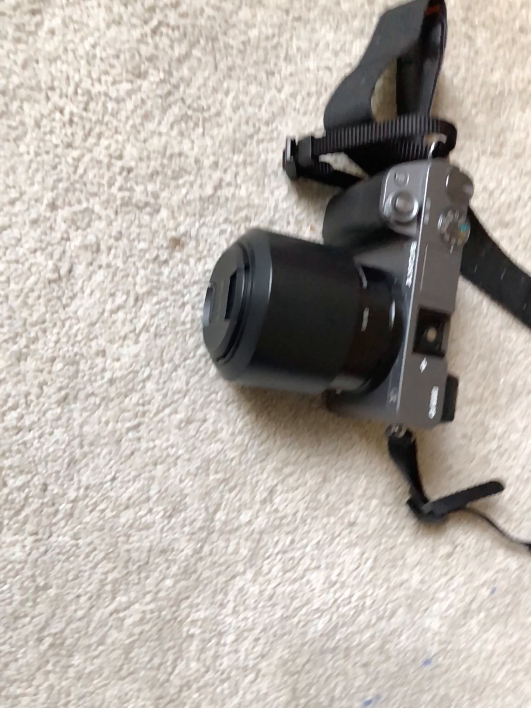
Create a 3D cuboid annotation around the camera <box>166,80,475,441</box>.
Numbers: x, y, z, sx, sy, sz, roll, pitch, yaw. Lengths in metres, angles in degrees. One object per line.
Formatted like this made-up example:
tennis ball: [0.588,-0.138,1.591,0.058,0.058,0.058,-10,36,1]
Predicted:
camera: [0.022,-0.031,0.258,0.100,0.070,0.120,10,84,-22]
